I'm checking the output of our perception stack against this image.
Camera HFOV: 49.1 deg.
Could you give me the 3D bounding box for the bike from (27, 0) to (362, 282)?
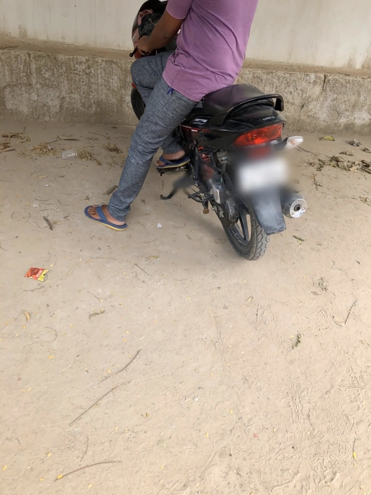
[{"bbox_3d":[-0.170,-0.902,2.084,0.742,1.086,1.704,-12,42,-26],"label":"bike"}]
